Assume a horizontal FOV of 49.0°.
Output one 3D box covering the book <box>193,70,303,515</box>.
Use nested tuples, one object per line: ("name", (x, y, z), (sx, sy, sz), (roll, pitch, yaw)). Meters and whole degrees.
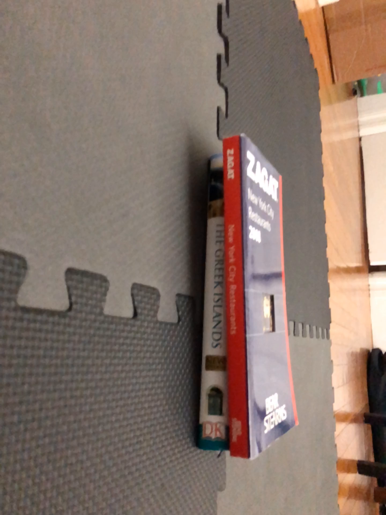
("book", (0.045, 0.025, 0.299), (0.151, 0.020, 0.250), (11, 76, -63))

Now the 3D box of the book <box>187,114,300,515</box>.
("book", (0.052, 0.044, 0.351), (0.171, 0.030, 0.260), (28, 61, -60))
